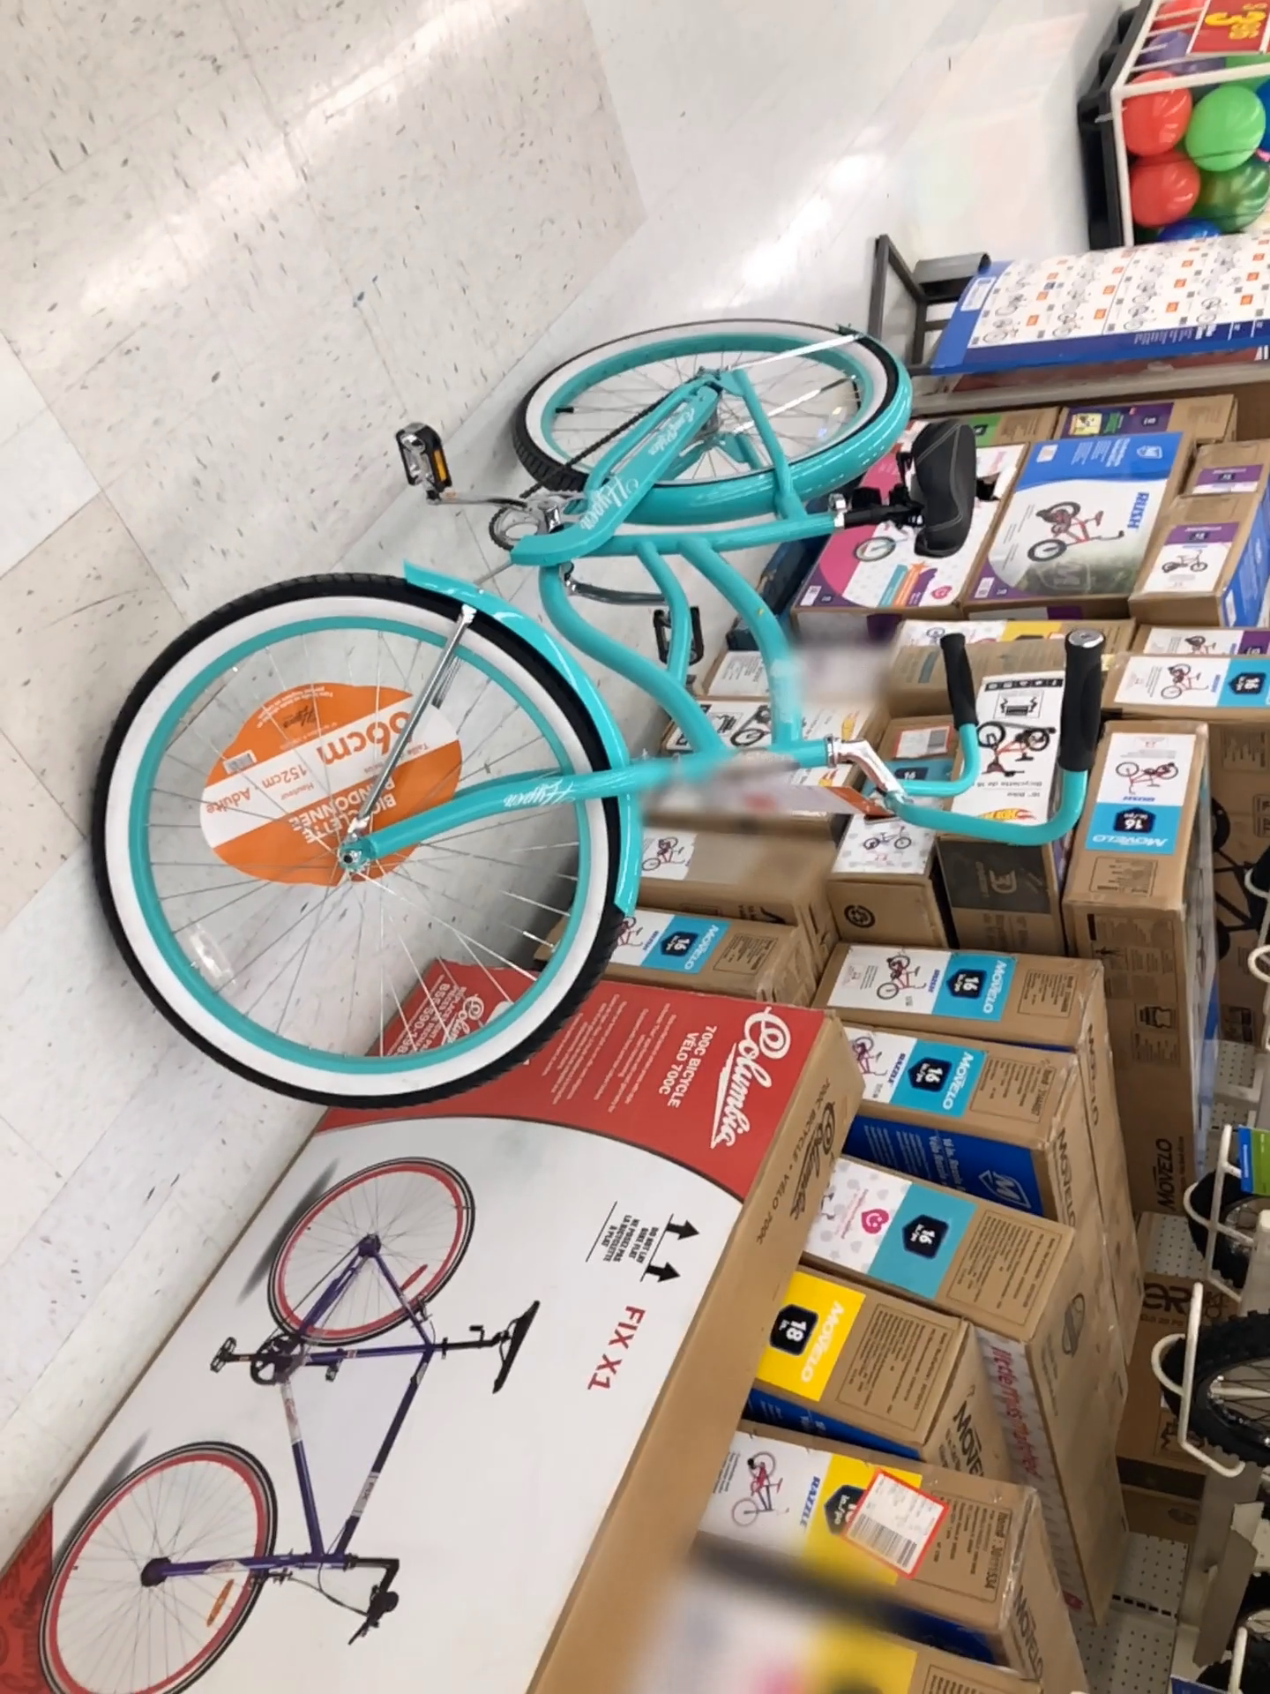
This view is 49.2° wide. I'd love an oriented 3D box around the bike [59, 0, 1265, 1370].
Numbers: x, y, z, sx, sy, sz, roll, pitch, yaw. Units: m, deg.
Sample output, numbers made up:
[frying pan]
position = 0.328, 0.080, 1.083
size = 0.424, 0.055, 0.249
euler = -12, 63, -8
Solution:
[bike]
position = 0.225, -0.333, 2.019
size = 0.854, 1.152, 1.584
euler = 60, 42, -45
